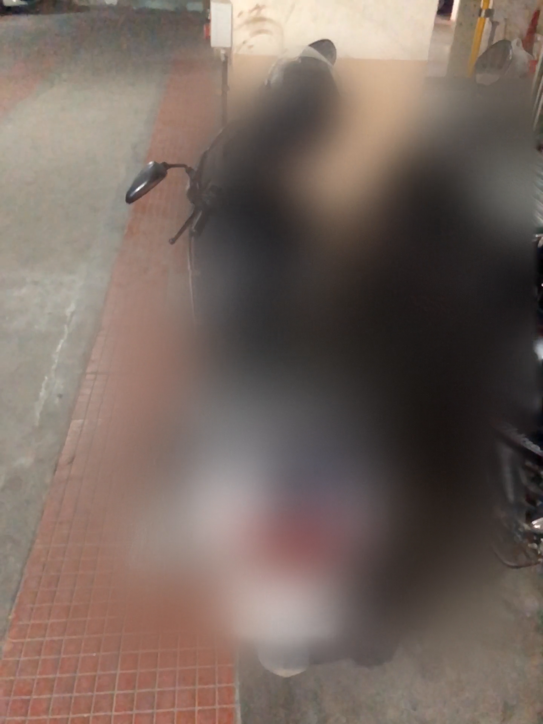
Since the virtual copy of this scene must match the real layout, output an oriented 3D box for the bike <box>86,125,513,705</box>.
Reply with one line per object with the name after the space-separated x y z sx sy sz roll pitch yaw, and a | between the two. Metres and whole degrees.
-0.130 -0.021 1.732 0.595 0.988 1.501 -4 33 -11 | bike
